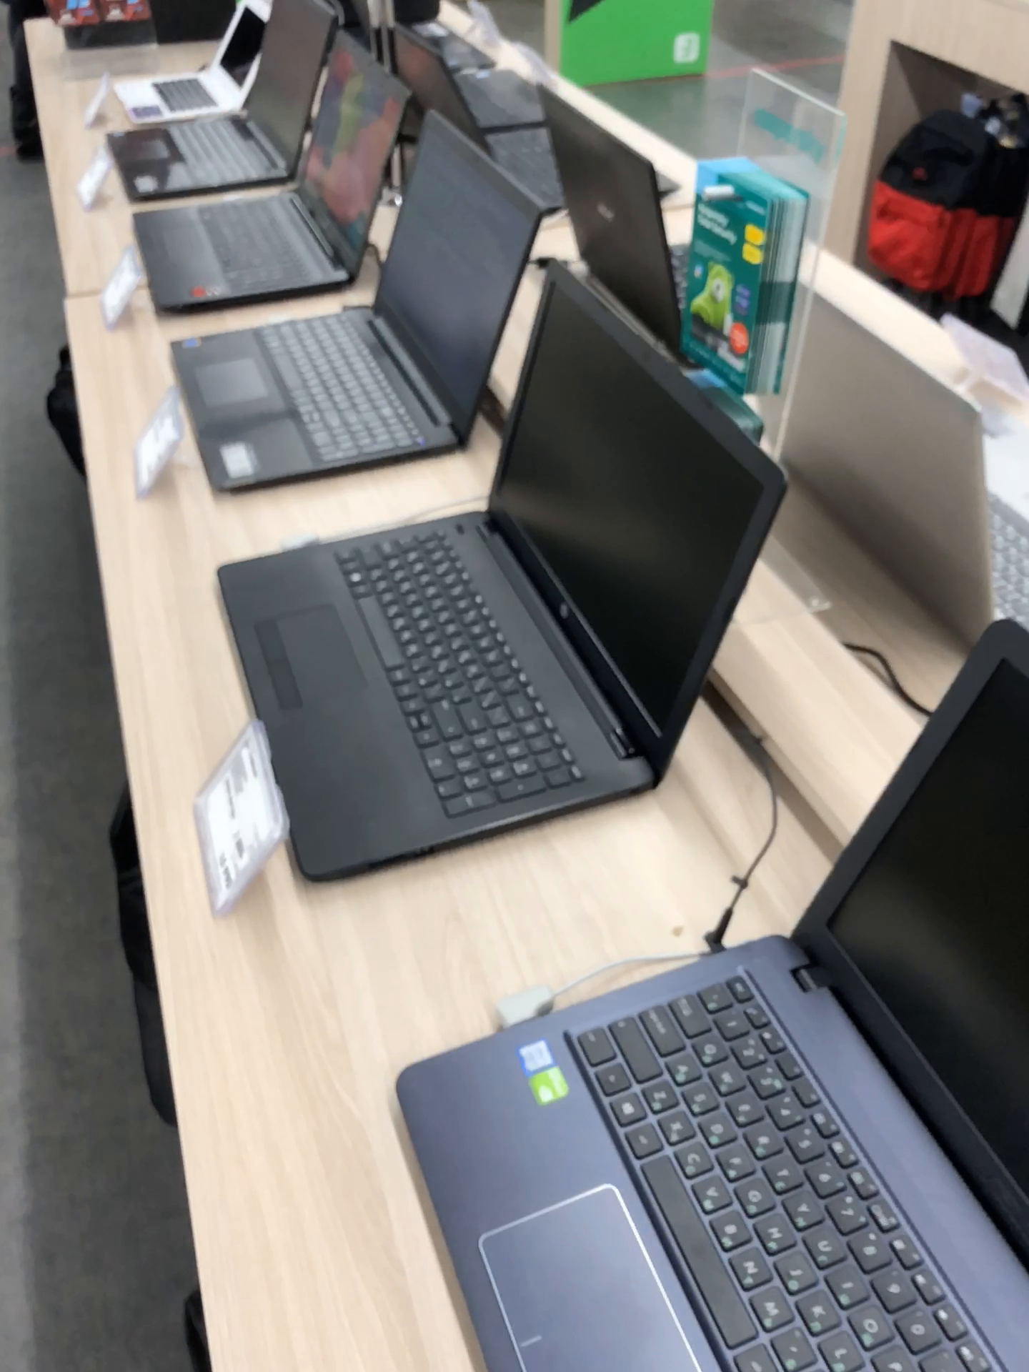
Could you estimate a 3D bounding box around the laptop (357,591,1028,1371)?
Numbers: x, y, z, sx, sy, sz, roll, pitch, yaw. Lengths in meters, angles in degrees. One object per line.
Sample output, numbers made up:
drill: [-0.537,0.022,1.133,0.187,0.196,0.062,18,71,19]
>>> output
laptop: [0.155,0.195,0.449,0.333,0.209,0.371,-16,43,-15]

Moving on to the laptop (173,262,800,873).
laptop: [-0.043,-0.112,0.822,0.311,0.216,0.368,-14,42,-14]

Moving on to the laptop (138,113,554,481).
laptop: [-0.177,-0.417,1.186,0.327,0.213,0.333,-14,42,-14]
